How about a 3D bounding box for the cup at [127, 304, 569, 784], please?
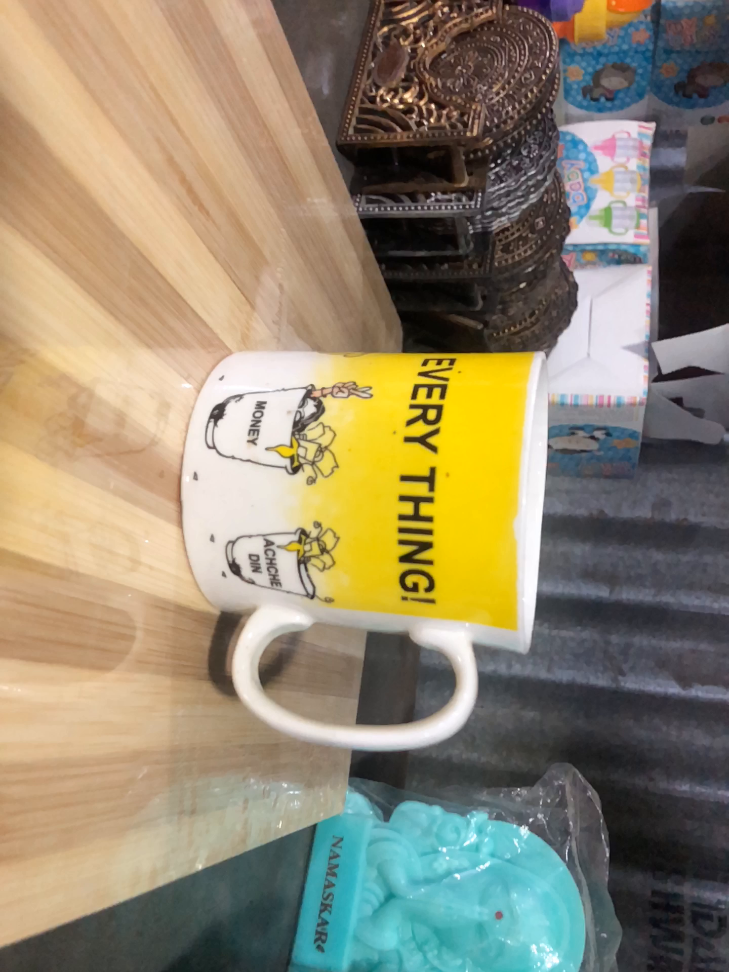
[{"bbox_3d":[0.003,0.014,0.233,0.070,0.100,0.110,39,57,-74],"label":"cup"}]
